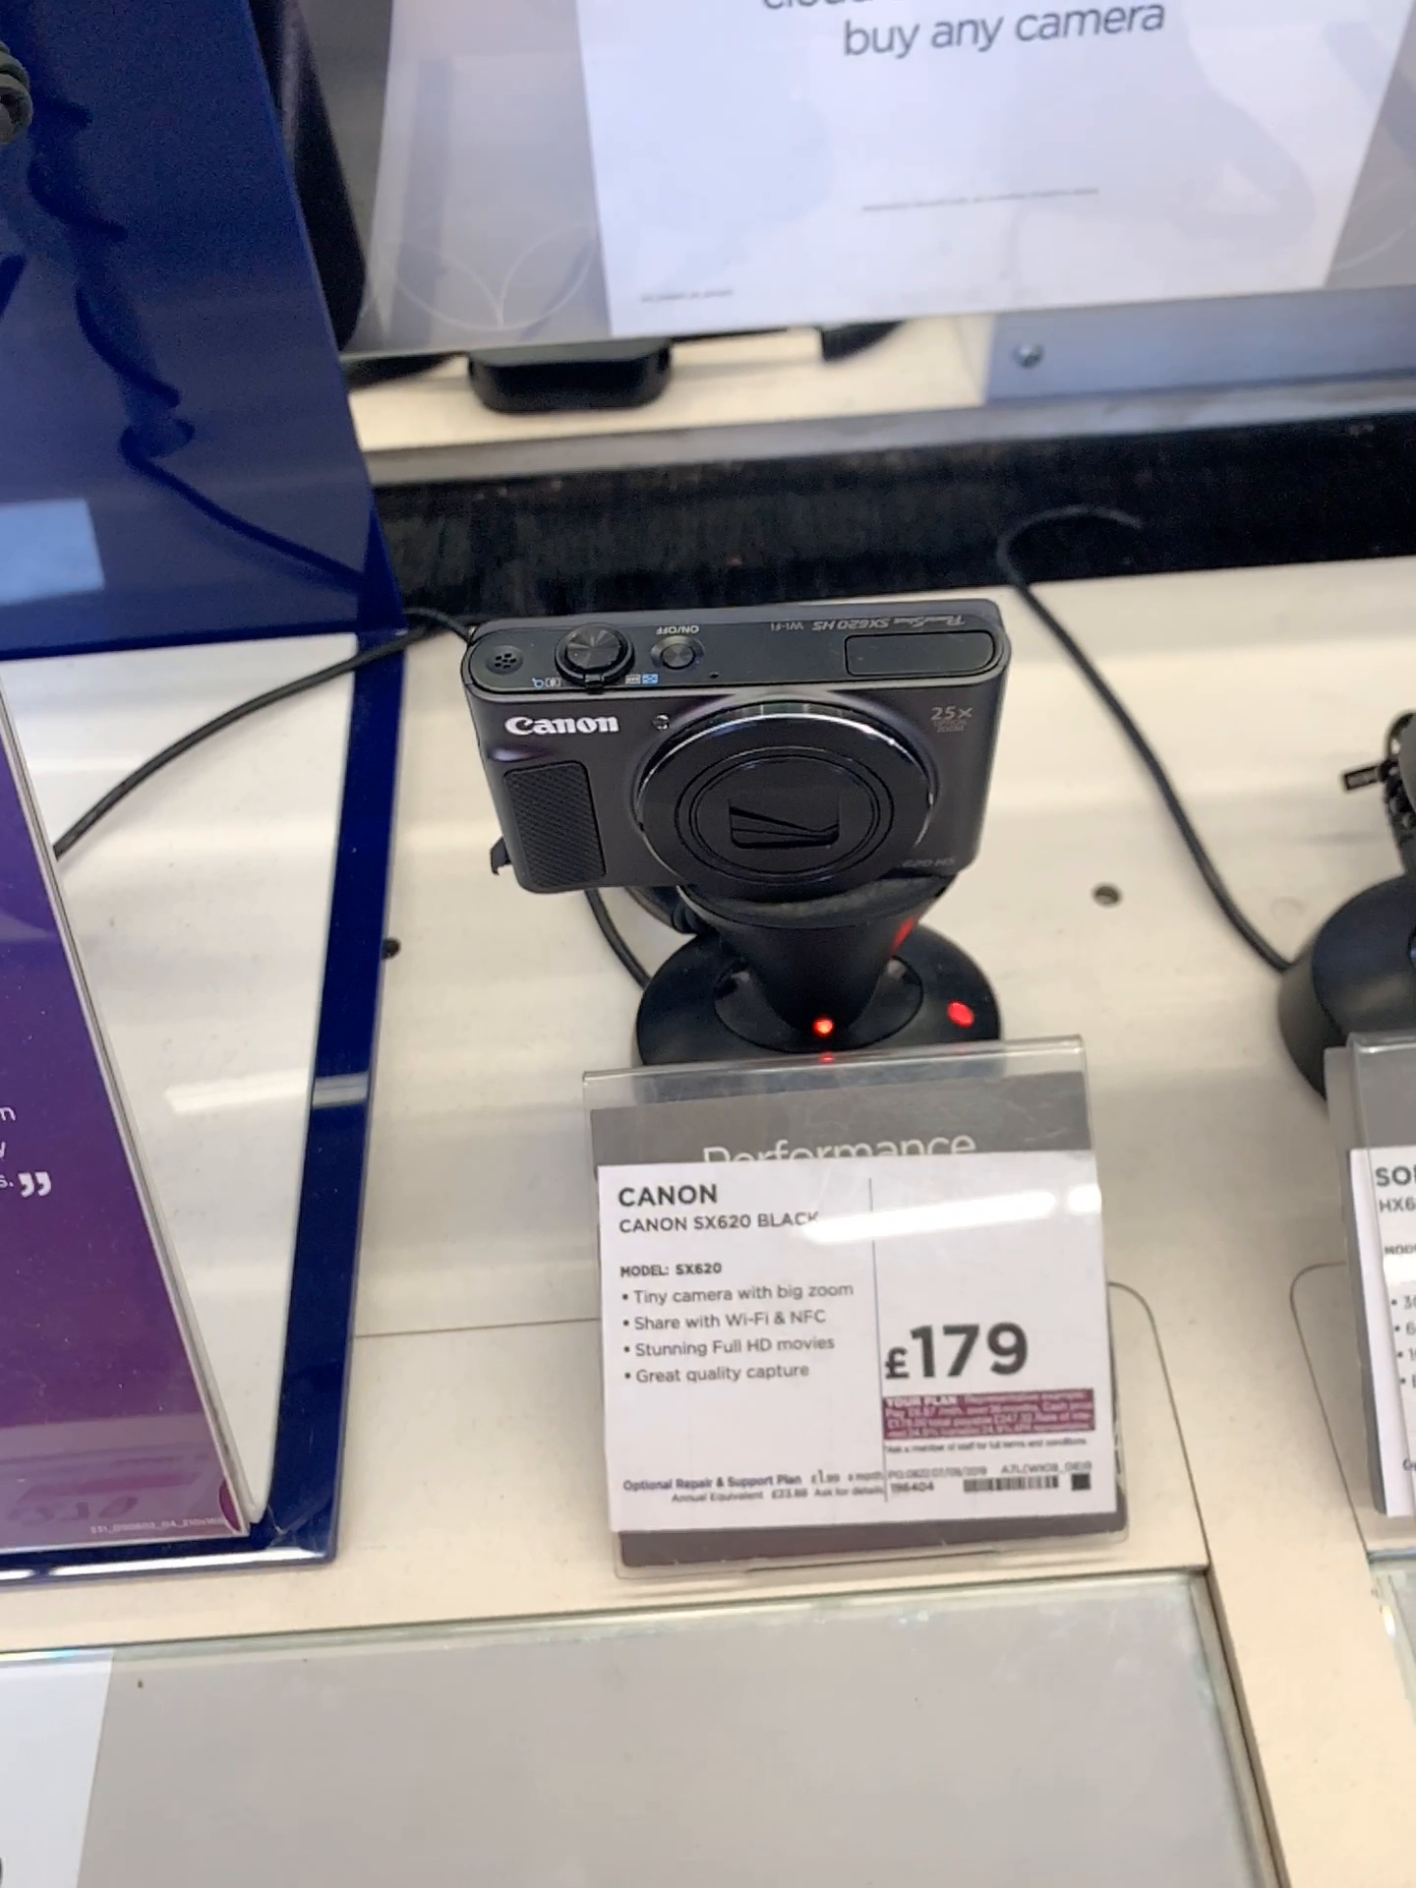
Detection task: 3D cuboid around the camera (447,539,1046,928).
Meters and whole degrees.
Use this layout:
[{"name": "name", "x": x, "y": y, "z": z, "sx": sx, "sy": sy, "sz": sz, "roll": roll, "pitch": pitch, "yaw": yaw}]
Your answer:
[{"name": "camera", "x": 0.007, "y": -0.034, "z": 0.254, "sx": 0.090, "sy": 0.060, "sz": 0.030, "roll": -2, "pitch": 55, "yaw": 2}]
